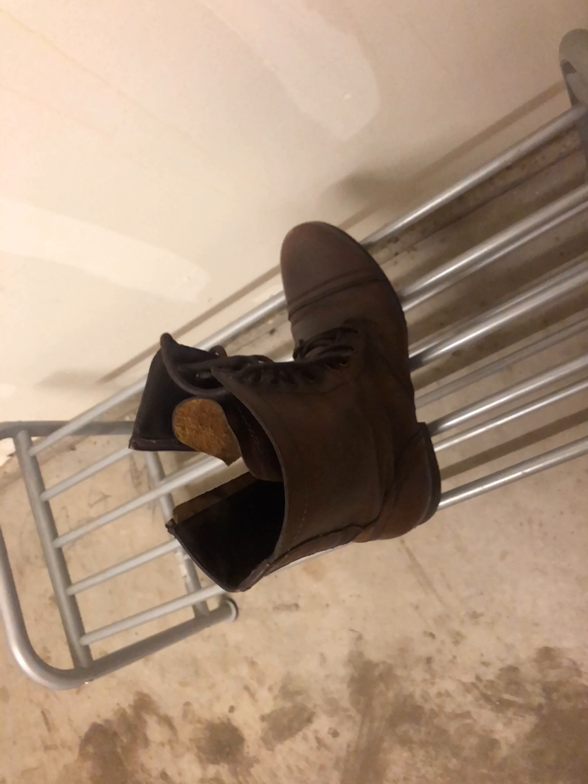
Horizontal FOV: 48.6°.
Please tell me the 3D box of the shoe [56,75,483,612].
[{"bbox_3d":[-0.005,-0.027,0.478,0.122,0.238,0.287,-24,77,31],"label":"shoe"}]
